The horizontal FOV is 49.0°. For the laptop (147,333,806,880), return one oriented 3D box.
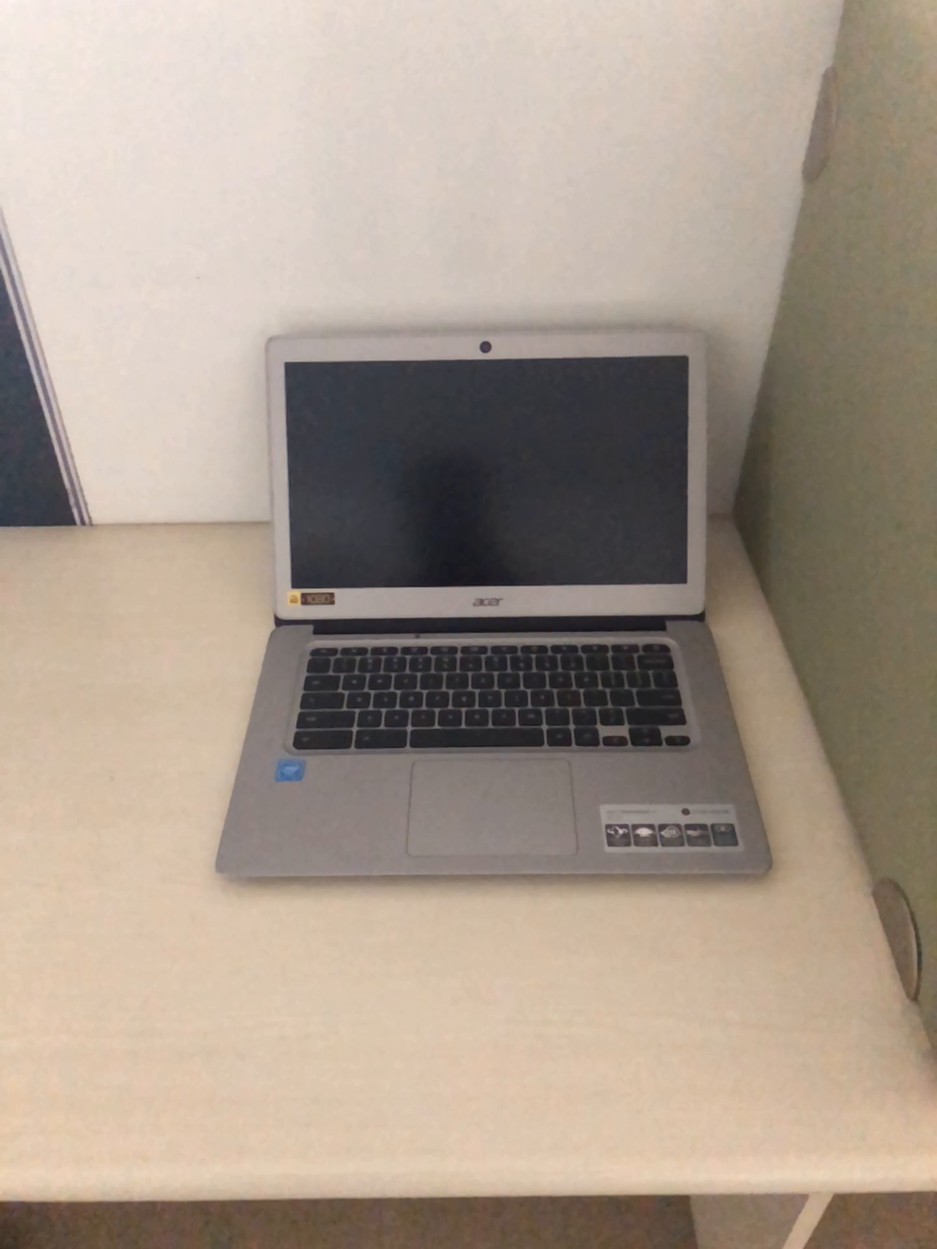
[{"bbox_3d":[0.004,-0.035,0.695,0.322,0.168,0.368,0,41,0],"label":"laptop"}]
